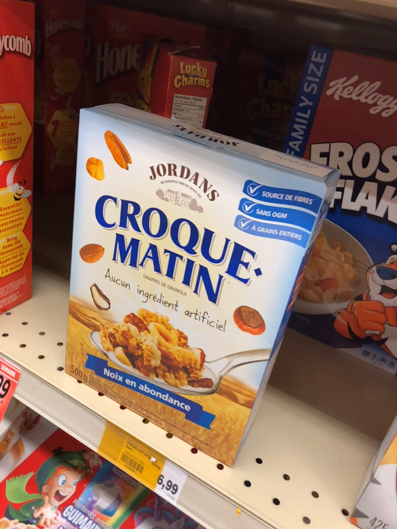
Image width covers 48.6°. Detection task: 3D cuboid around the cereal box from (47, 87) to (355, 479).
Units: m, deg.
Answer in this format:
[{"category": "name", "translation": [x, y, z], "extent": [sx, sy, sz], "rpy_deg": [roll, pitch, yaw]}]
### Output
[{"category": "cereal box", "translation": [-0.024, 0.019, 0.349], "extent": [0.200, 0.258, 0.050], "rpy_deg": [23, 31, 19]}]
